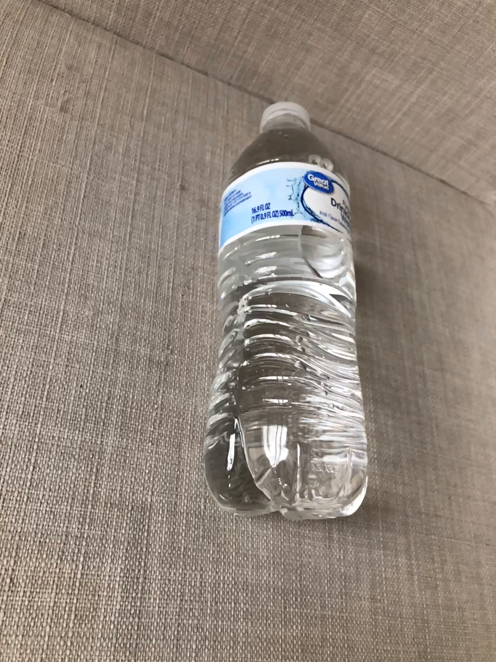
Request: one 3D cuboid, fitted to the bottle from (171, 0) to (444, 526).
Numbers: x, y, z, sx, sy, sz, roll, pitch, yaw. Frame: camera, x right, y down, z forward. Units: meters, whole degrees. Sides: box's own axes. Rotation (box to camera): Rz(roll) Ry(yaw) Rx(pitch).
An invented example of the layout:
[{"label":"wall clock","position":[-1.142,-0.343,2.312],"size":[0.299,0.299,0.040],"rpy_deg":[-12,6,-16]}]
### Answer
[{"label":"bottle","position":[0.025,-0.036,0.259],"size":[0.070,0.080,0.231],"rpy_deg":[37,46,-52]}]
